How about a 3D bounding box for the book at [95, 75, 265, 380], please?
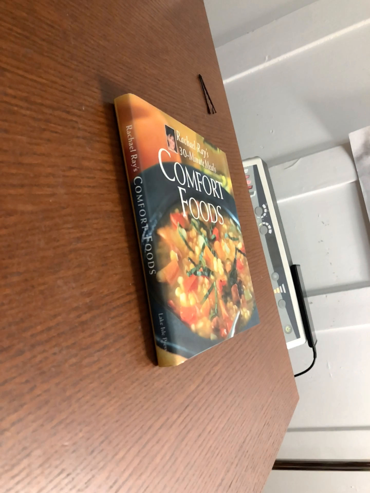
[{"bbox_3d":[0.010,-0.013,0.373,0.201,0.030,0.210,3,75,-64],"label":"book"}]
